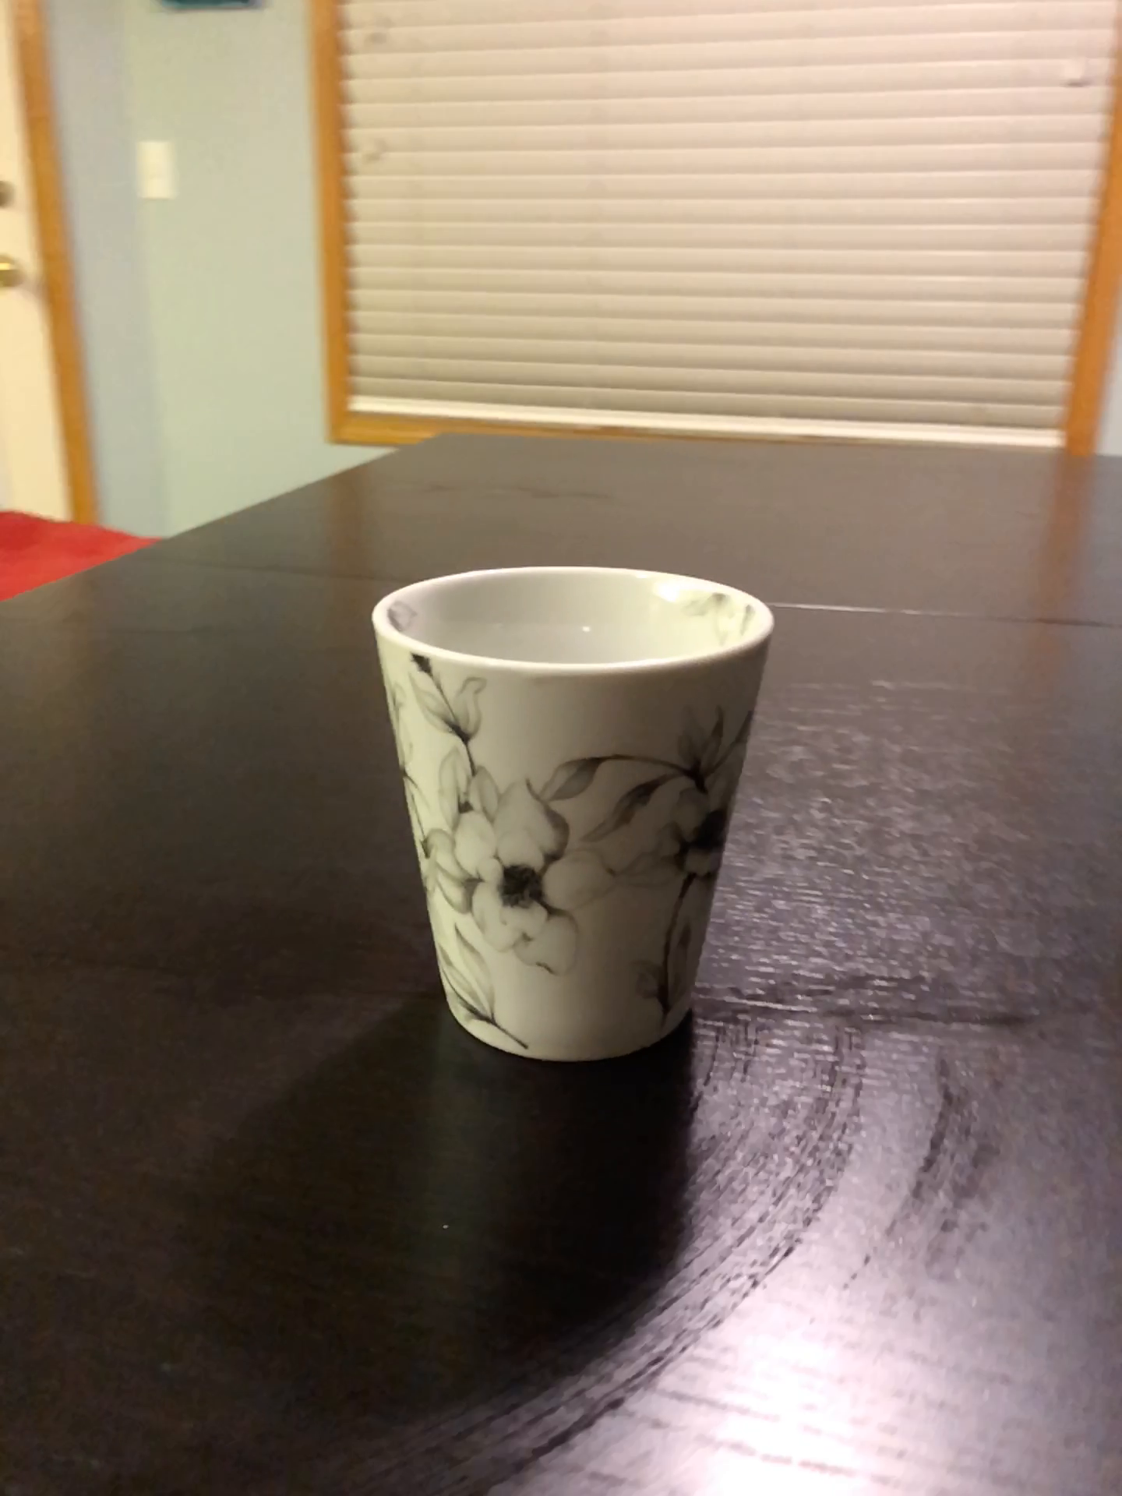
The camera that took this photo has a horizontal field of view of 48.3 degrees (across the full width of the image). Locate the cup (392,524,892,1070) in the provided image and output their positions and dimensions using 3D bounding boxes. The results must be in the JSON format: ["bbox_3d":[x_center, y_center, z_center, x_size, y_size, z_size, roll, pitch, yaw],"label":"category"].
[{"bbox_3d":[0.012,0.003,0.321,0.100,0.100,0.121,-1,20,-4],"label":"cup"}]
